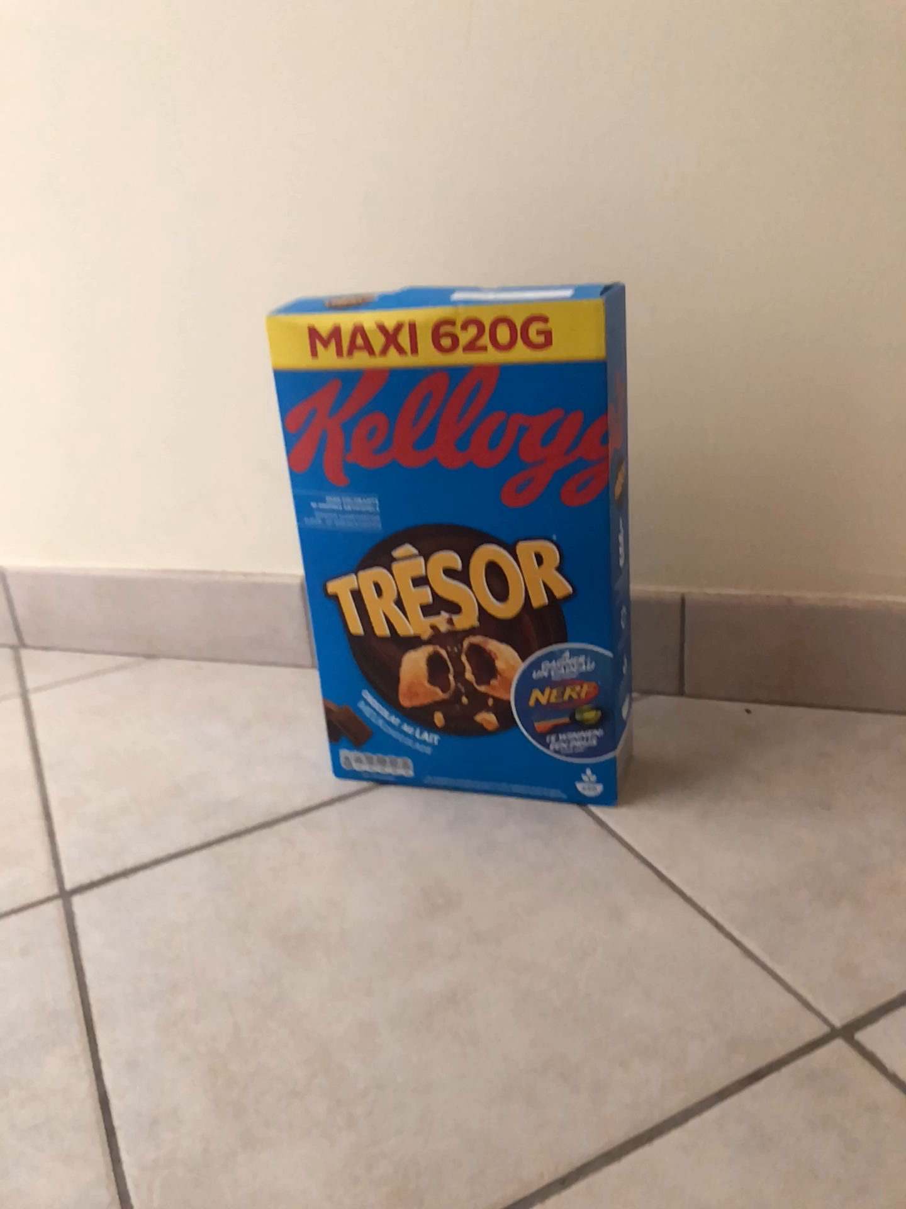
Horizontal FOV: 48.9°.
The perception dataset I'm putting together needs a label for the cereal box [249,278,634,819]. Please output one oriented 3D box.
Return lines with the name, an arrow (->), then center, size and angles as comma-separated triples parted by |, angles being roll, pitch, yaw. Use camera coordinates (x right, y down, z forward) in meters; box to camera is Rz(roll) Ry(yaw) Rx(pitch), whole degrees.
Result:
cereal box -> 0.004, -0.029, 0.594 | 0.190, 0.299, 0.070 | 2, 24, 19
